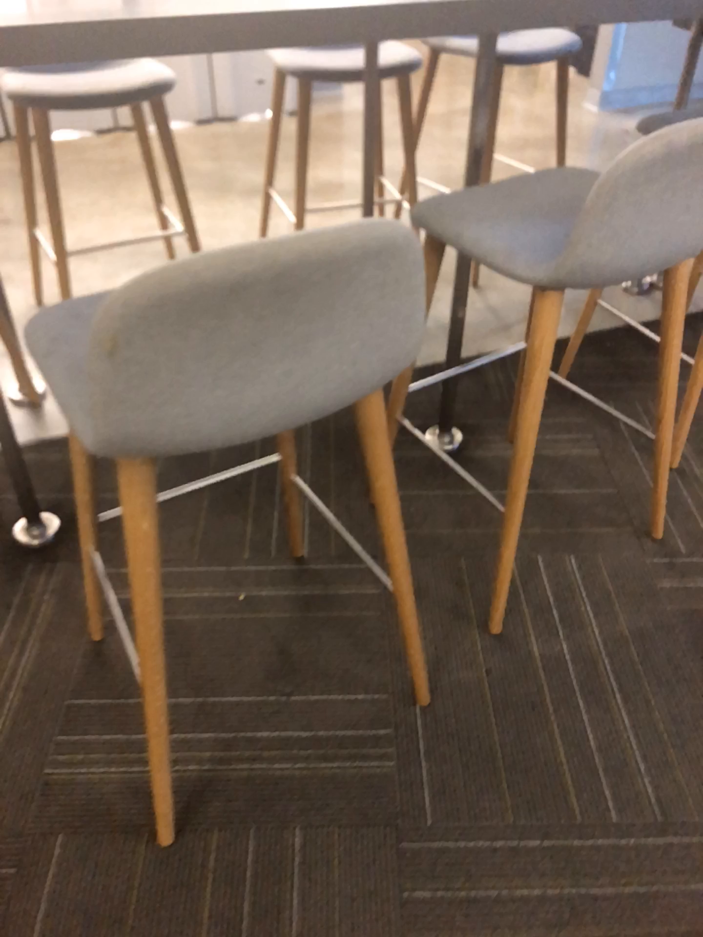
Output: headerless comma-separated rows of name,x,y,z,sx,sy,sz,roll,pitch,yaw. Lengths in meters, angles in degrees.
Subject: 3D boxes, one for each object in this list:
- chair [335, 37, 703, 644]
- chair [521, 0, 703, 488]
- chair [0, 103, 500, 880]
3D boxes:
chair,0.355,-0.259,1.560,0.572,0.942,0.543,-21,43,-25
chair,0.896,-0.582,2.020,0.542,1.031,0.543,-18,42,-22
chair,-0.221,0.032,1.220,0.572,0.942,0.543,-21,43,-25
